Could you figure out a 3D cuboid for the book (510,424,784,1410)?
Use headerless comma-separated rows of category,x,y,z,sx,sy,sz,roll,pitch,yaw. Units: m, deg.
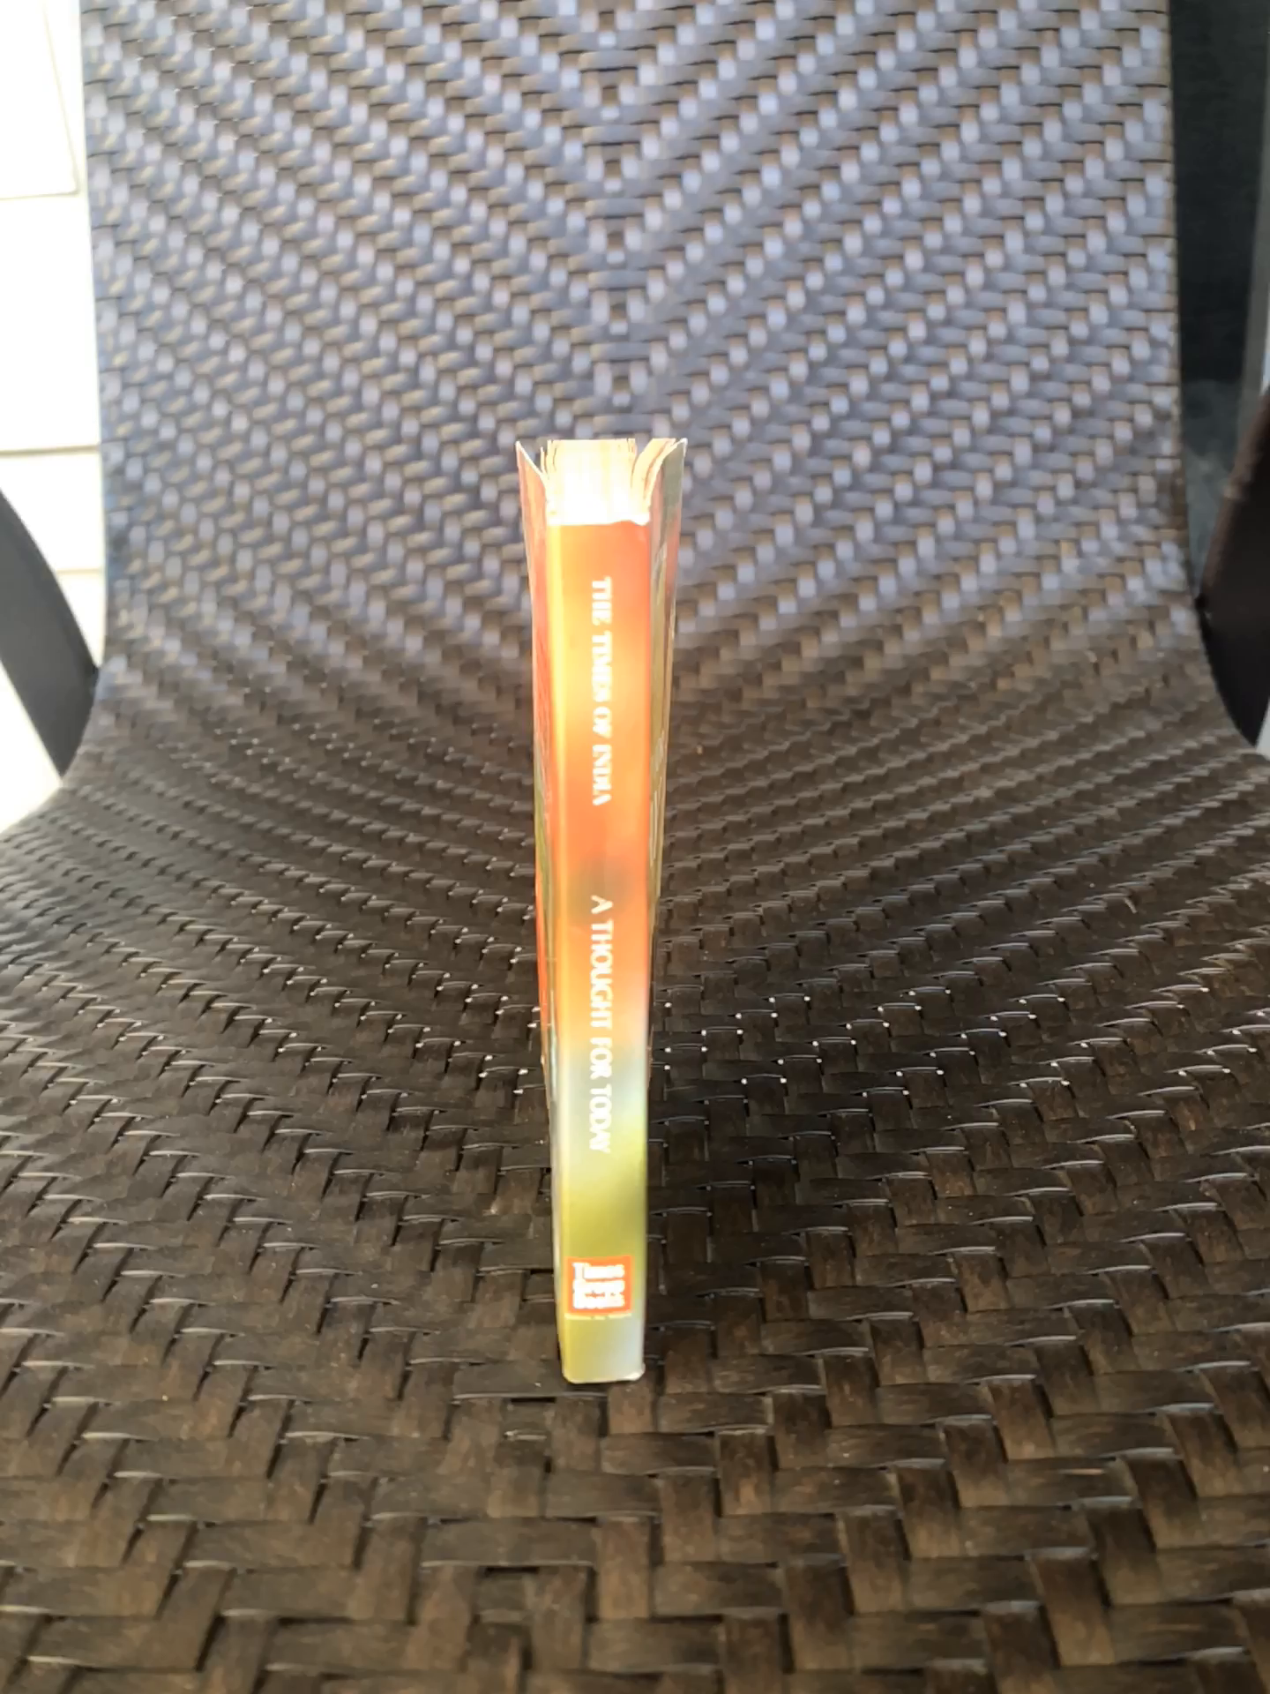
book,-0.002,0.003,0.235,0.031,0.128,0.106,-3,23,-4
